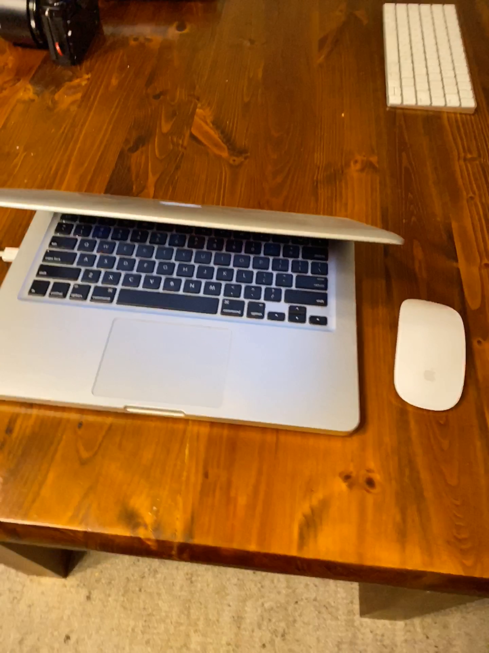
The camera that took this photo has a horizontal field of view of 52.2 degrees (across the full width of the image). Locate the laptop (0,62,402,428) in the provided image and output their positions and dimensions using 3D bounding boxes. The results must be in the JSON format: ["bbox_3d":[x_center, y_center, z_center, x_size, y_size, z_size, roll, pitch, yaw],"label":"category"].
[{"bbox_3d":[-0.059,-0.065,0.387,0.310,0.136,0.212,6,58,2],"label":"laptop"}]
